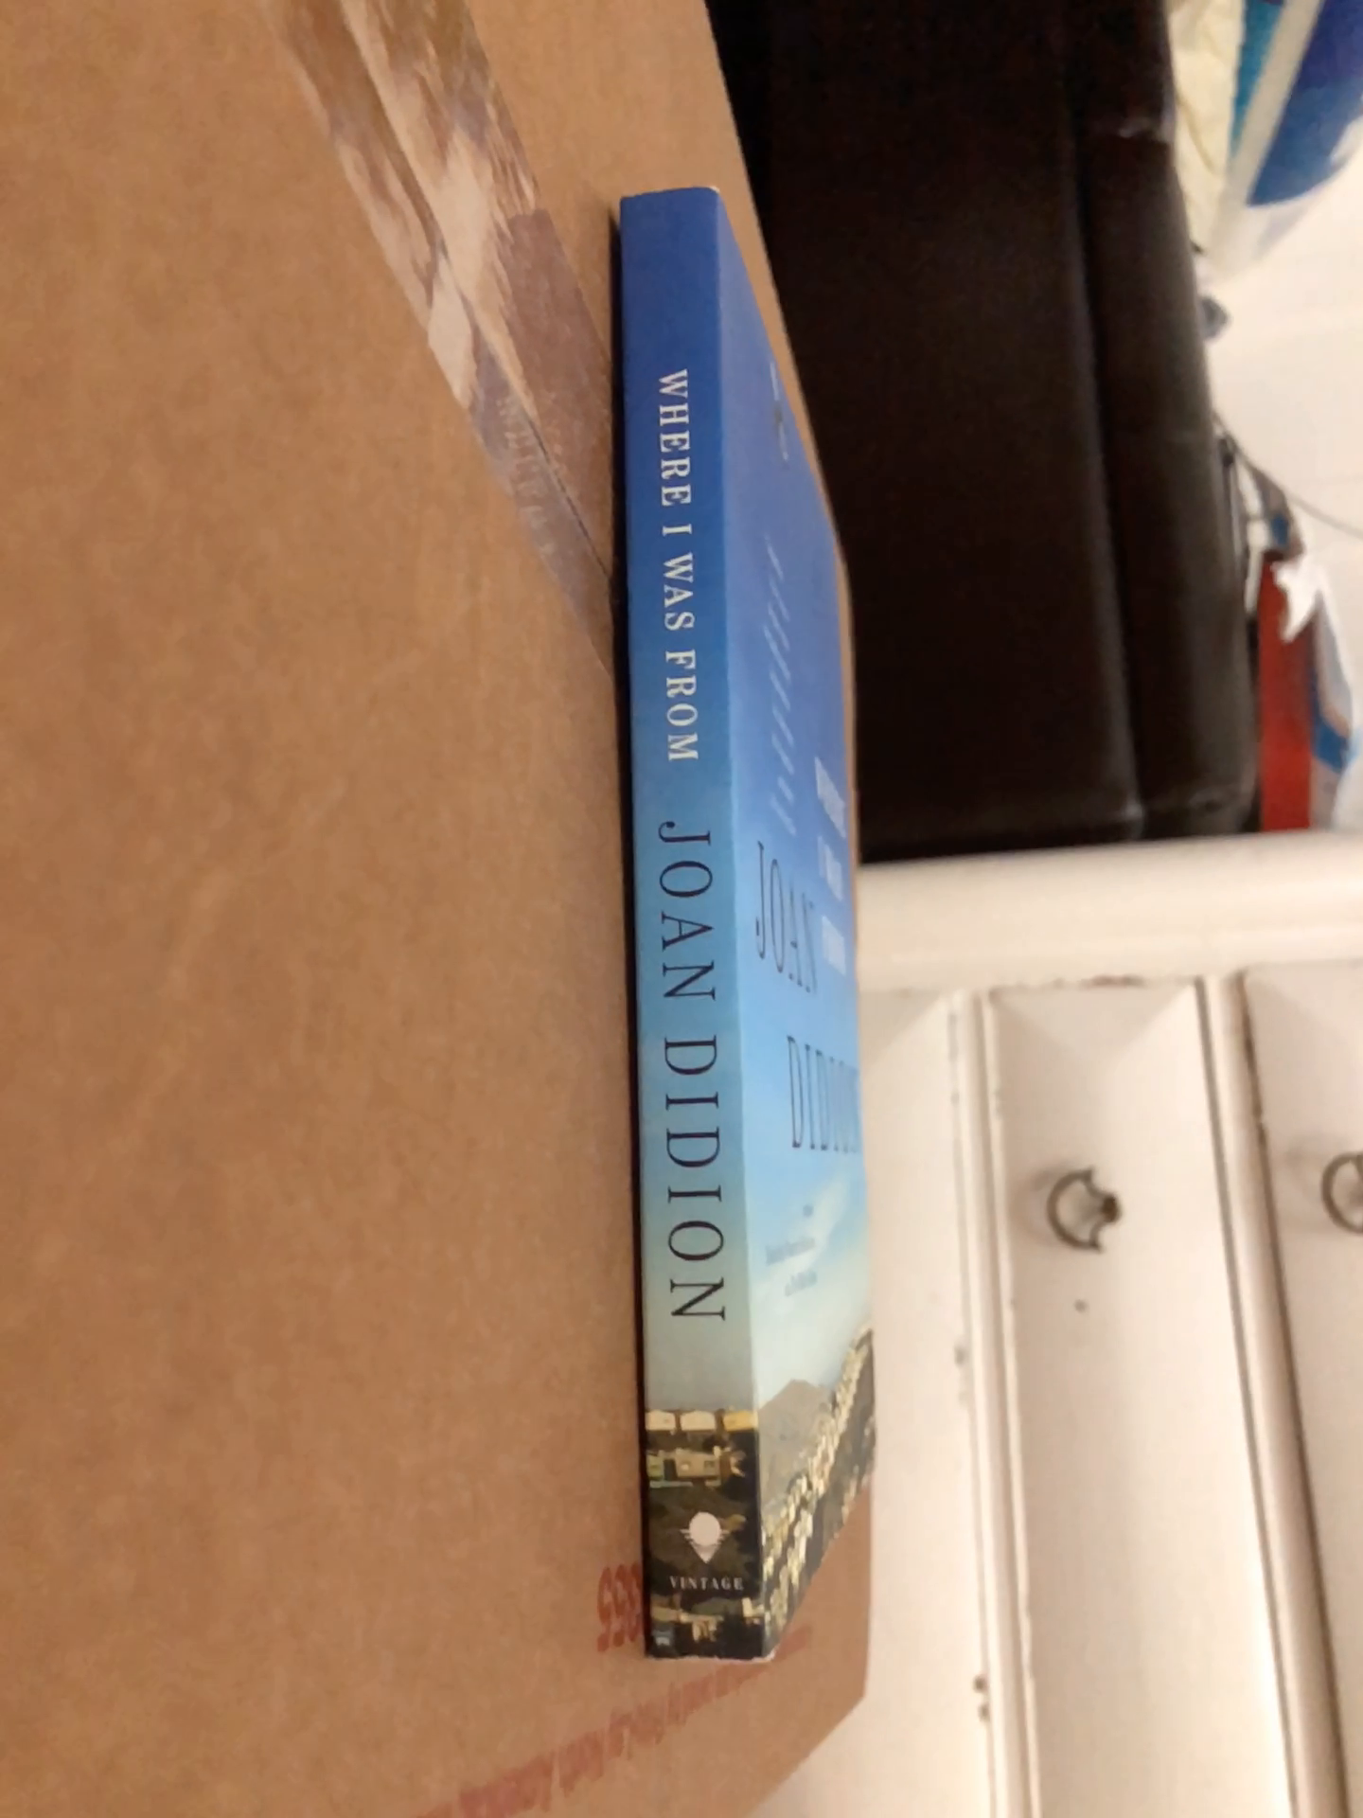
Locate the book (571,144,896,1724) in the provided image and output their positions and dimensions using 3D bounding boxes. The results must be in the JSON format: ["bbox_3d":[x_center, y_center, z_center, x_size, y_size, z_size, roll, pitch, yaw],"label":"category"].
[{"bbox_3d":[0.014,0.006,0.269,0.140,0.020,0.210,35,51,-74],"label":"book"}]
